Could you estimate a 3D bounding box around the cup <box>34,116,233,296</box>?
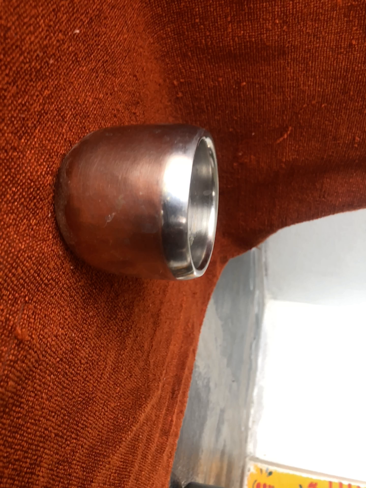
[{"bbox_3d":[-0.014,-0.012,0.200,0.090,0.060,0.060,41,55,-72],"label":"cup"}]
